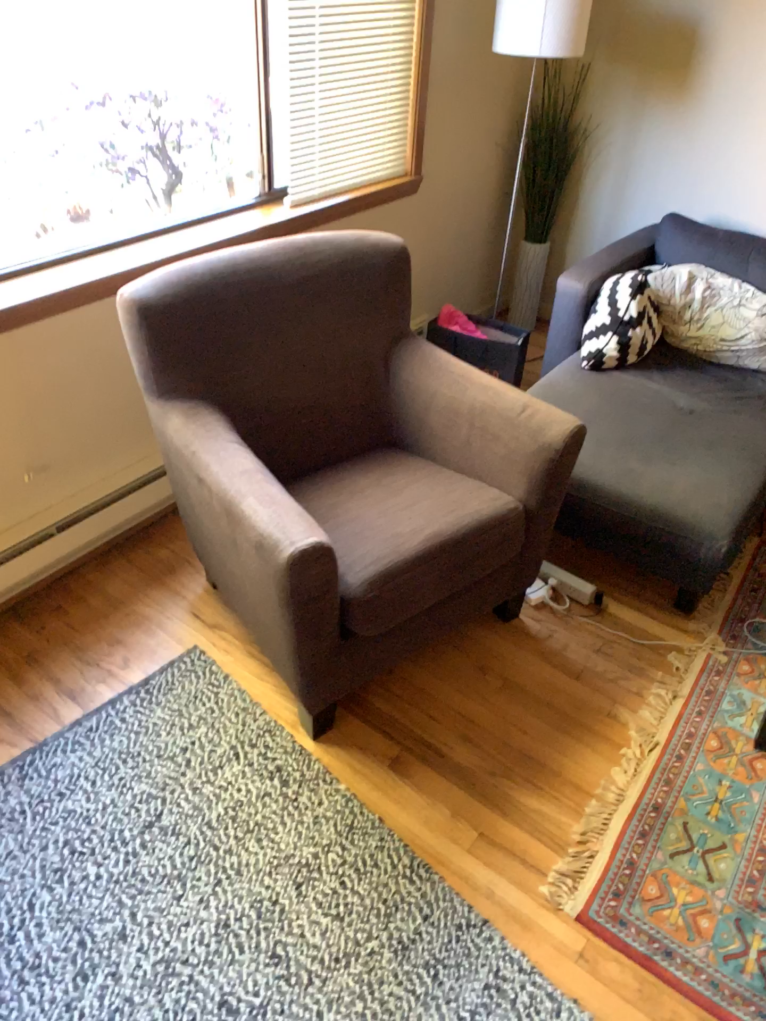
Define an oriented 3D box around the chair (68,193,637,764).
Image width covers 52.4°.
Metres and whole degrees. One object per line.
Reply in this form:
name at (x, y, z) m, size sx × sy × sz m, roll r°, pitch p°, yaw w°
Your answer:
chair at (-0.079, -0.163, 1.873) m, size 0.882 × 0.875 × 0.803 m, roll -25°, pitch 43°, yaw -32°
